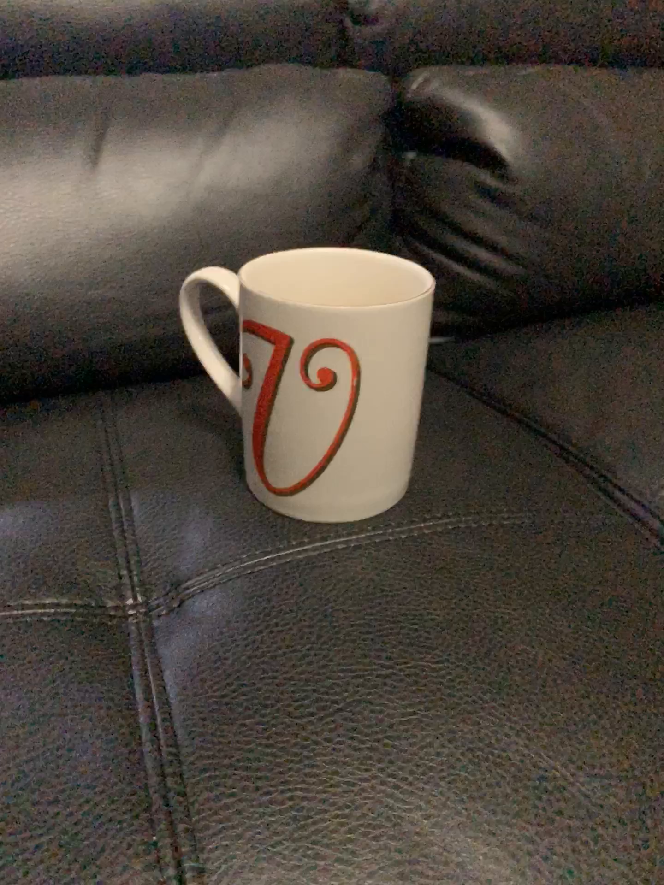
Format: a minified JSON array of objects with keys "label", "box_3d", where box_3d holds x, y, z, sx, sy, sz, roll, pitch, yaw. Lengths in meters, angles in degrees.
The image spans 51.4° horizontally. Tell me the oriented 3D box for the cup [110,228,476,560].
[{"label":"cup","box_3d":[-0.019,-0.035,0.344,0.139,0.106,0.098,19,33,29]}]
